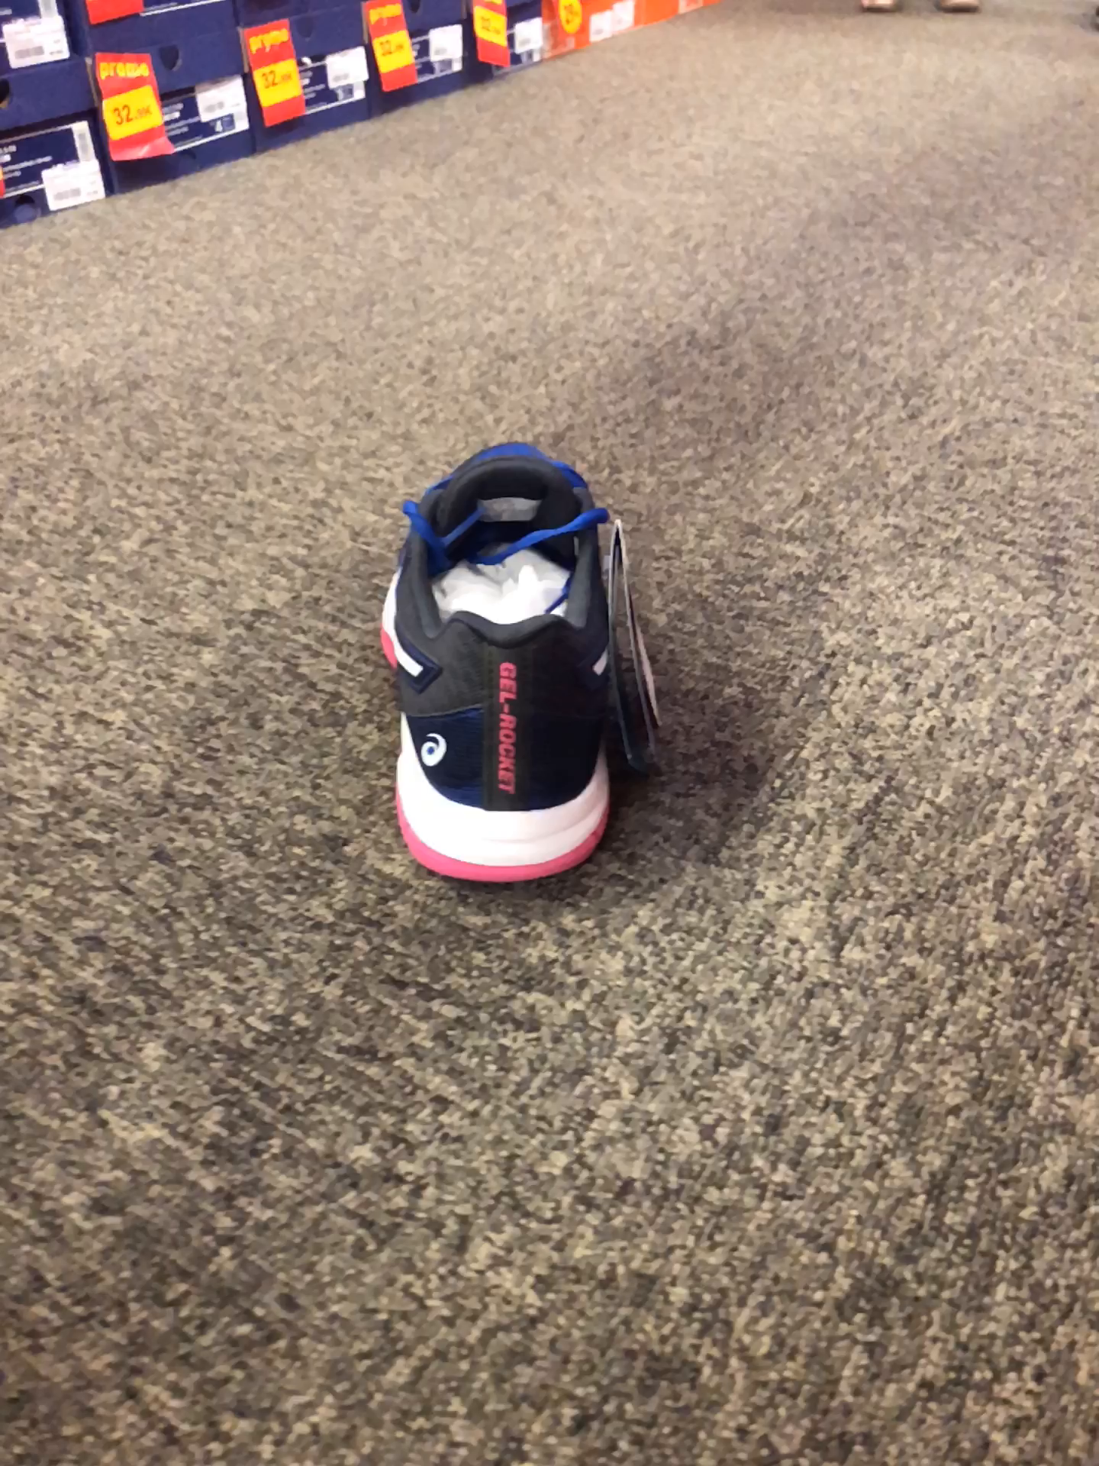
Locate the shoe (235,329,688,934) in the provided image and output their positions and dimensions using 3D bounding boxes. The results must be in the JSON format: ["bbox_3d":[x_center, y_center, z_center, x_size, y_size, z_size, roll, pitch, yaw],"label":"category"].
[{"bbox_3d":[-0.025,-0.059,0.472,0.125,0.099,0.272,-2,38,0],"label":"shoe"}]
